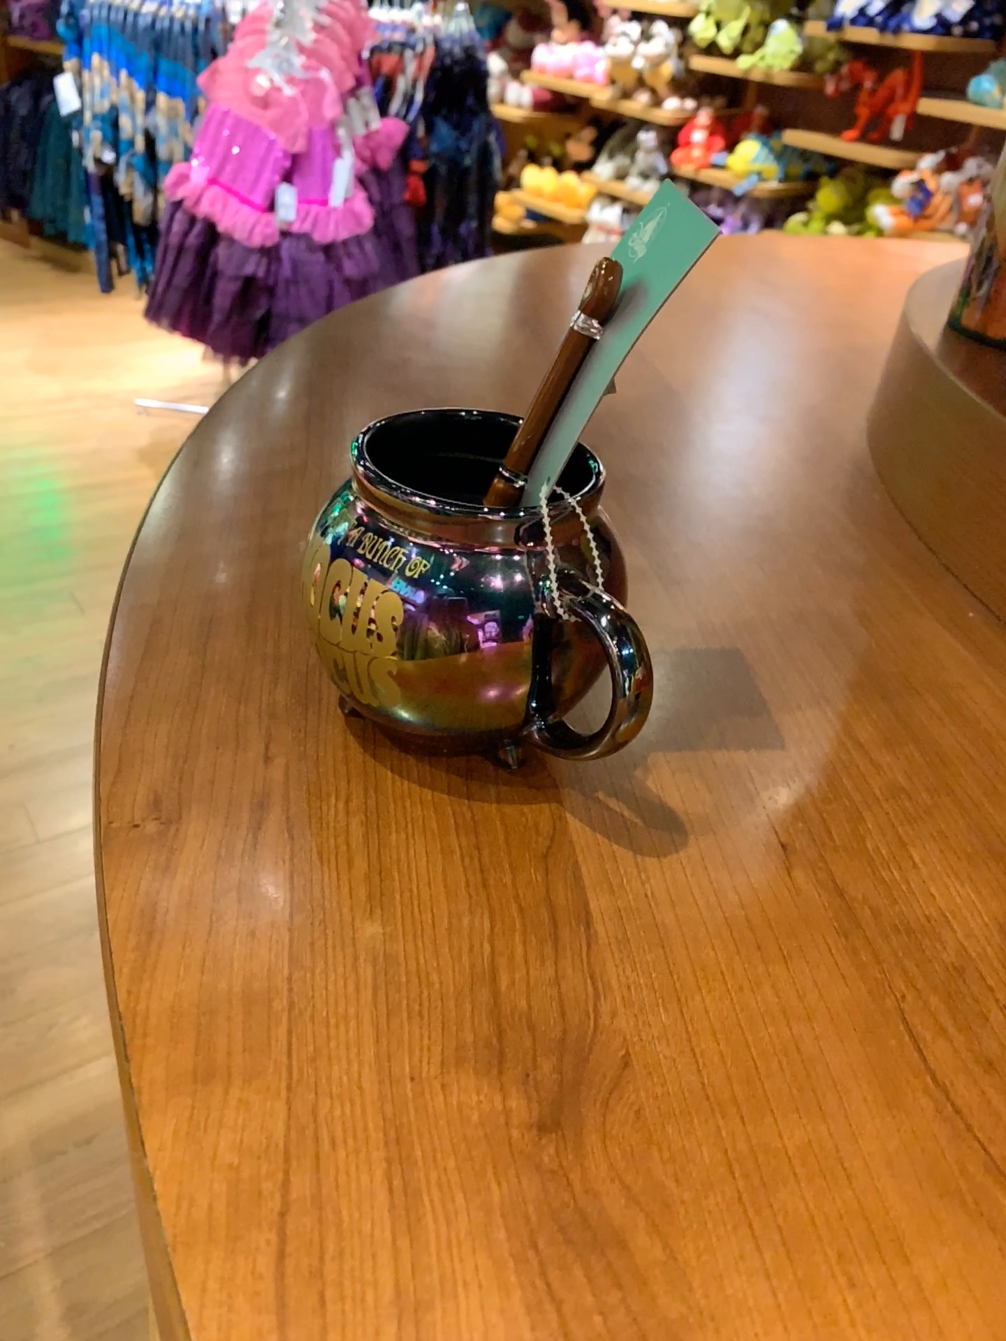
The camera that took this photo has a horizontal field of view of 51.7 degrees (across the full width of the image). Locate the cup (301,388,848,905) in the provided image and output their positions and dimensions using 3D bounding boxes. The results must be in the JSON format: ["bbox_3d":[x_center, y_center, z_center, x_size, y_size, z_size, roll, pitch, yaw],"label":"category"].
[{"bbox_3d":[0.013,-0.019,0.334,0.100,0.089,0.137,-19,41,-34],"label":"cup"}]
